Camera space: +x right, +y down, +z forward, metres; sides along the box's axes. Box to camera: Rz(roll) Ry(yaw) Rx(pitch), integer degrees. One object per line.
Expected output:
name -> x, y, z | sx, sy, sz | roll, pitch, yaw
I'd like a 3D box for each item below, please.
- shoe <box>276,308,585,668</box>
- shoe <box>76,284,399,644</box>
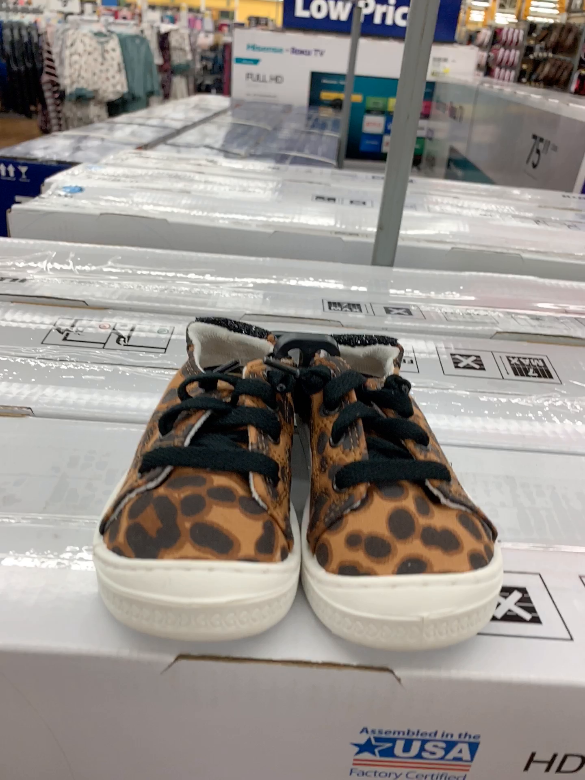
shoe -> 0.036, 0.021, 0.240 | 0.080, 0.040, 0.171 | 2, 30, -4
shoe -> -0.015, 0.010, 0.234 | 0.080, 0.040, 0.171 | 3, 30, -2
